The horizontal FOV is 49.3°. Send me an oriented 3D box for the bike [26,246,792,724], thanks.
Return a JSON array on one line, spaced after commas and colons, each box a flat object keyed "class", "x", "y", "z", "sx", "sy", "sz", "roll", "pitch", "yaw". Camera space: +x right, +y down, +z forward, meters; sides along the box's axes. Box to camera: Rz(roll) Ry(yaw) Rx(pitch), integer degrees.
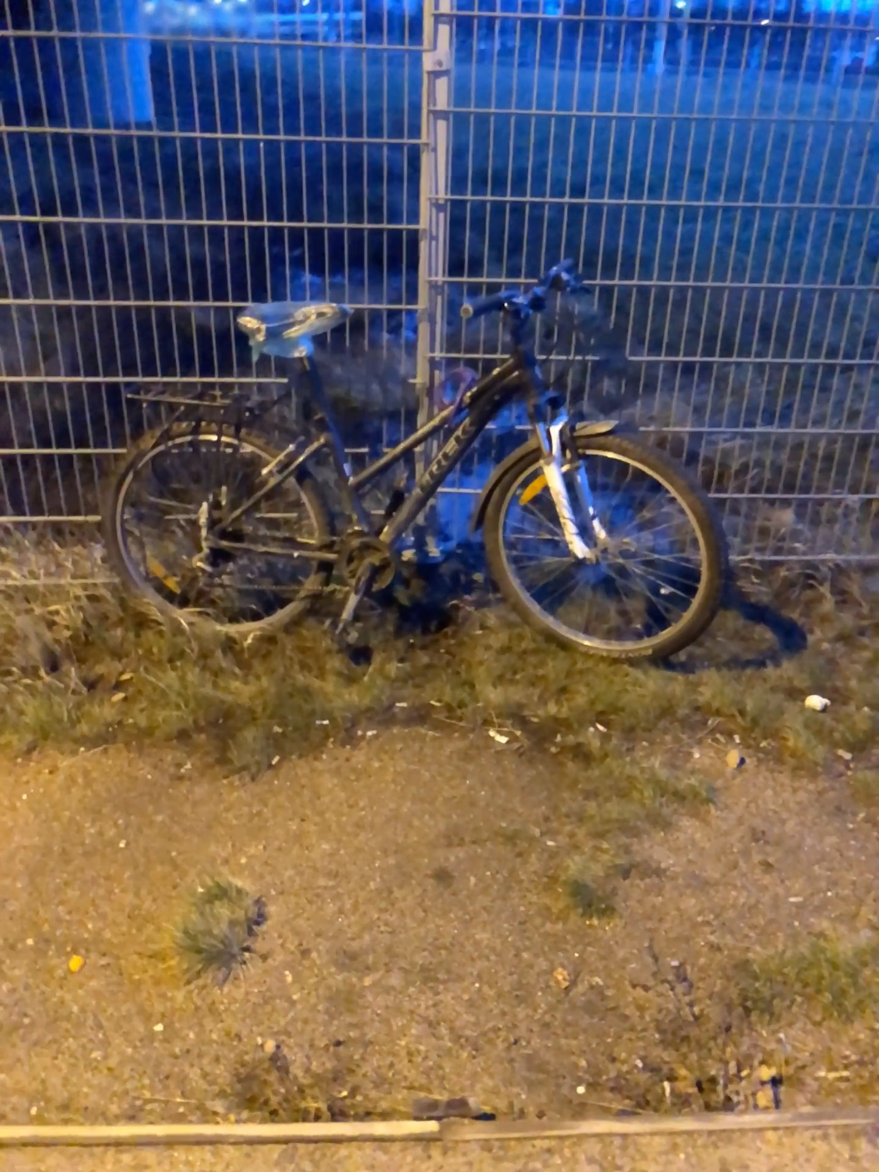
[{"class": "bike", "x": -0.102, "y": -0.298, "z": 2.400, "sx": 1.583, "sy": 0.947, "sz": 0.573, "roll": 5, "pitch": 29, "yaw": 10}]
